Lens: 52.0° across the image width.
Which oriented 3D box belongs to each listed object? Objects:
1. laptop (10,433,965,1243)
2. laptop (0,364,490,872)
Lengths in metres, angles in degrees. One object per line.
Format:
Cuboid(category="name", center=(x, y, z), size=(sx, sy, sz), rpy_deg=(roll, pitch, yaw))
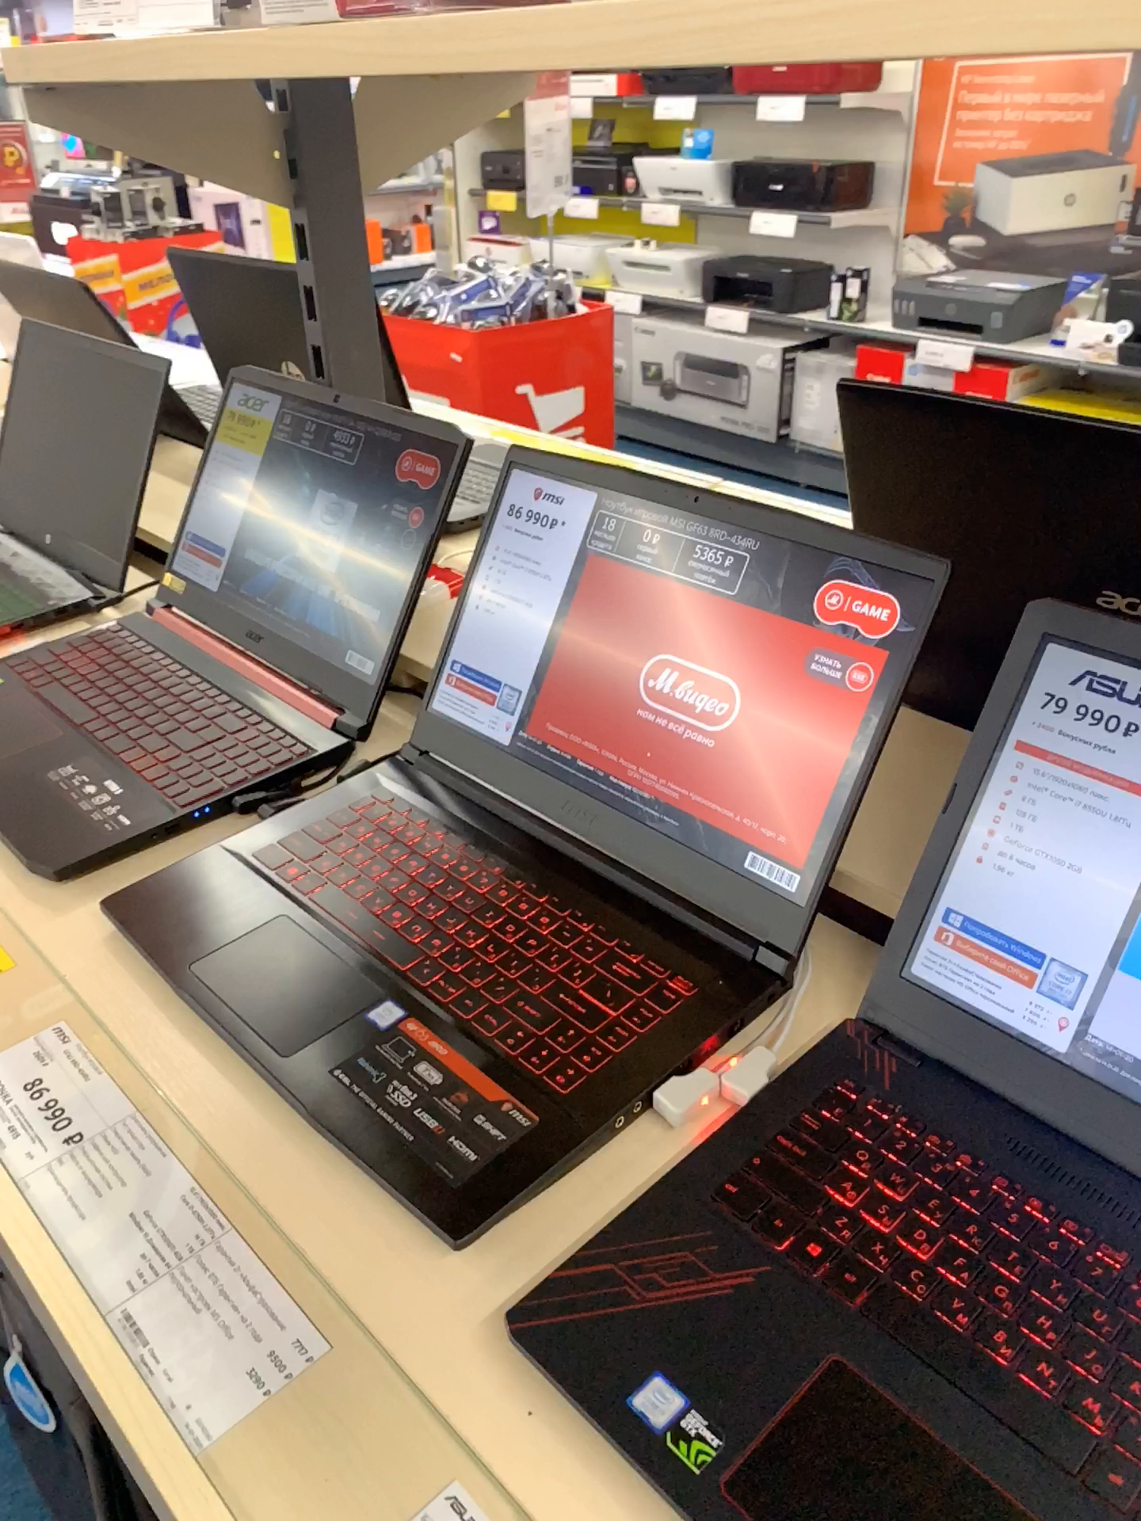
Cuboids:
Cuboid(category="laptop", center=(-0.043, -0.012, 0.678), size=(0.370, 0.204, 0.351), rpy_deg=(-29, 40, -36))
Cuboid(category="laptop", center=(-0.324, -0.145, 0.911), size=(0.371, 0.211, 0.335), rpy_deg=(-26, 38, -34))
